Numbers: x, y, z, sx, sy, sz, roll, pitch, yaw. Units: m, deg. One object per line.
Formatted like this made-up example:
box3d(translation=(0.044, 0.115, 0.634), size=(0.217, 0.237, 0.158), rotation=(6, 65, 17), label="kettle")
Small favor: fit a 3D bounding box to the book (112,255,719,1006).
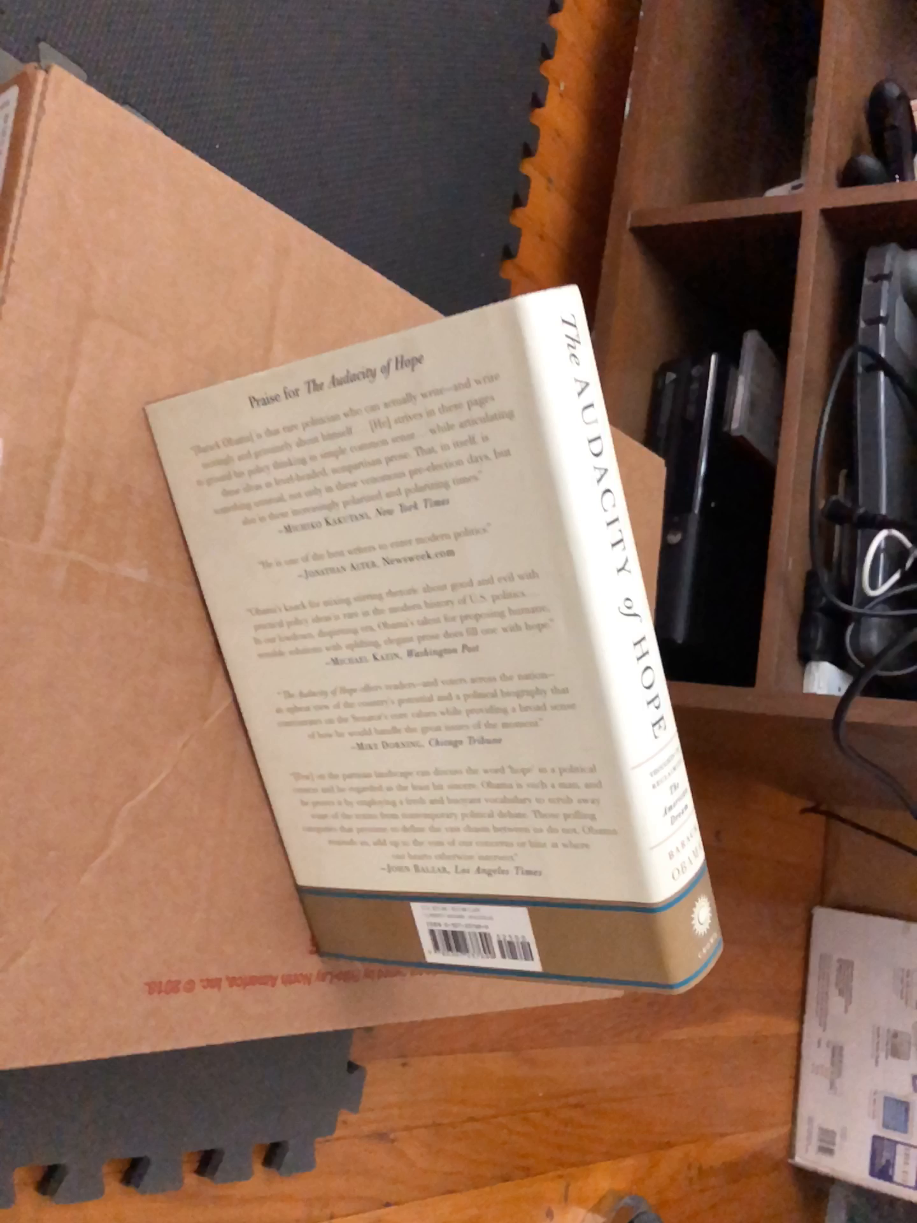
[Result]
box3d(translation=(-0.013, 0.015, 0.387), size=(0.060, 0.169, 0.250), rotation=(-35, 115, -56), label="book")
